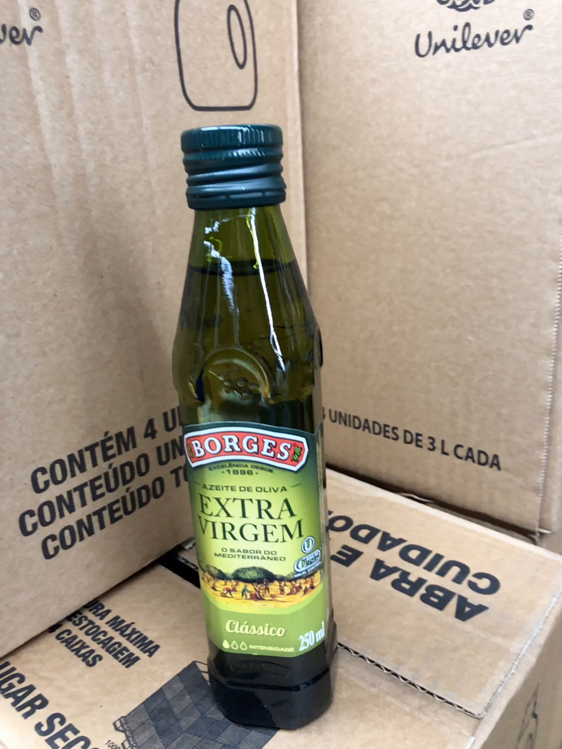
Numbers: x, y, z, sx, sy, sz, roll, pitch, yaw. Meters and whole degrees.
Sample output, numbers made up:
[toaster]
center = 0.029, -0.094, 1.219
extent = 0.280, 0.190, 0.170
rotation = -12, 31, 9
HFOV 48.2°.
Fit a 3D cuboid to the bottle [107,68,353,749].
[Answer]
[bottle]
center = -0.006, 0.020, 0.217
extent = 0.060, 0.219, 0.060
rotation = -2, 19, 1
